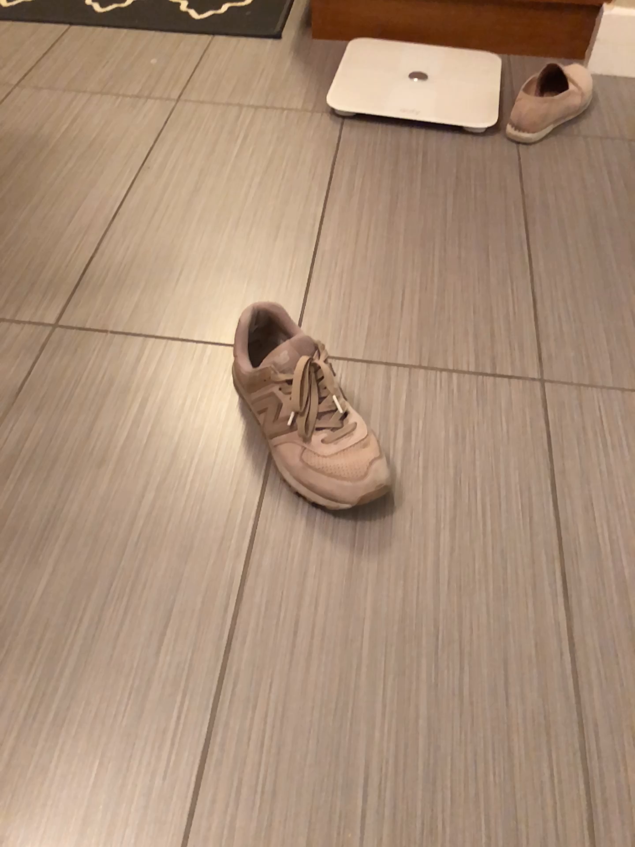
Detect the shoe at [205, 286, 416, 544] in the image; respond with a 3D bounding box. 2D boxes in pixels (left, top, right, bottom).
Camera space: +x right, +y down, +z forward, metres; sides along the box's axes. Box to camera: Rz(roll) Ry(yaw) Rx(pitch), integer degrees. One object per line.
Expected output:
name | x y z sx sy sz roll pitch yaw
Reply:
shoe | -0.017 -0.019 0.746 0.100 0.090 0.271 -22 54 -19
